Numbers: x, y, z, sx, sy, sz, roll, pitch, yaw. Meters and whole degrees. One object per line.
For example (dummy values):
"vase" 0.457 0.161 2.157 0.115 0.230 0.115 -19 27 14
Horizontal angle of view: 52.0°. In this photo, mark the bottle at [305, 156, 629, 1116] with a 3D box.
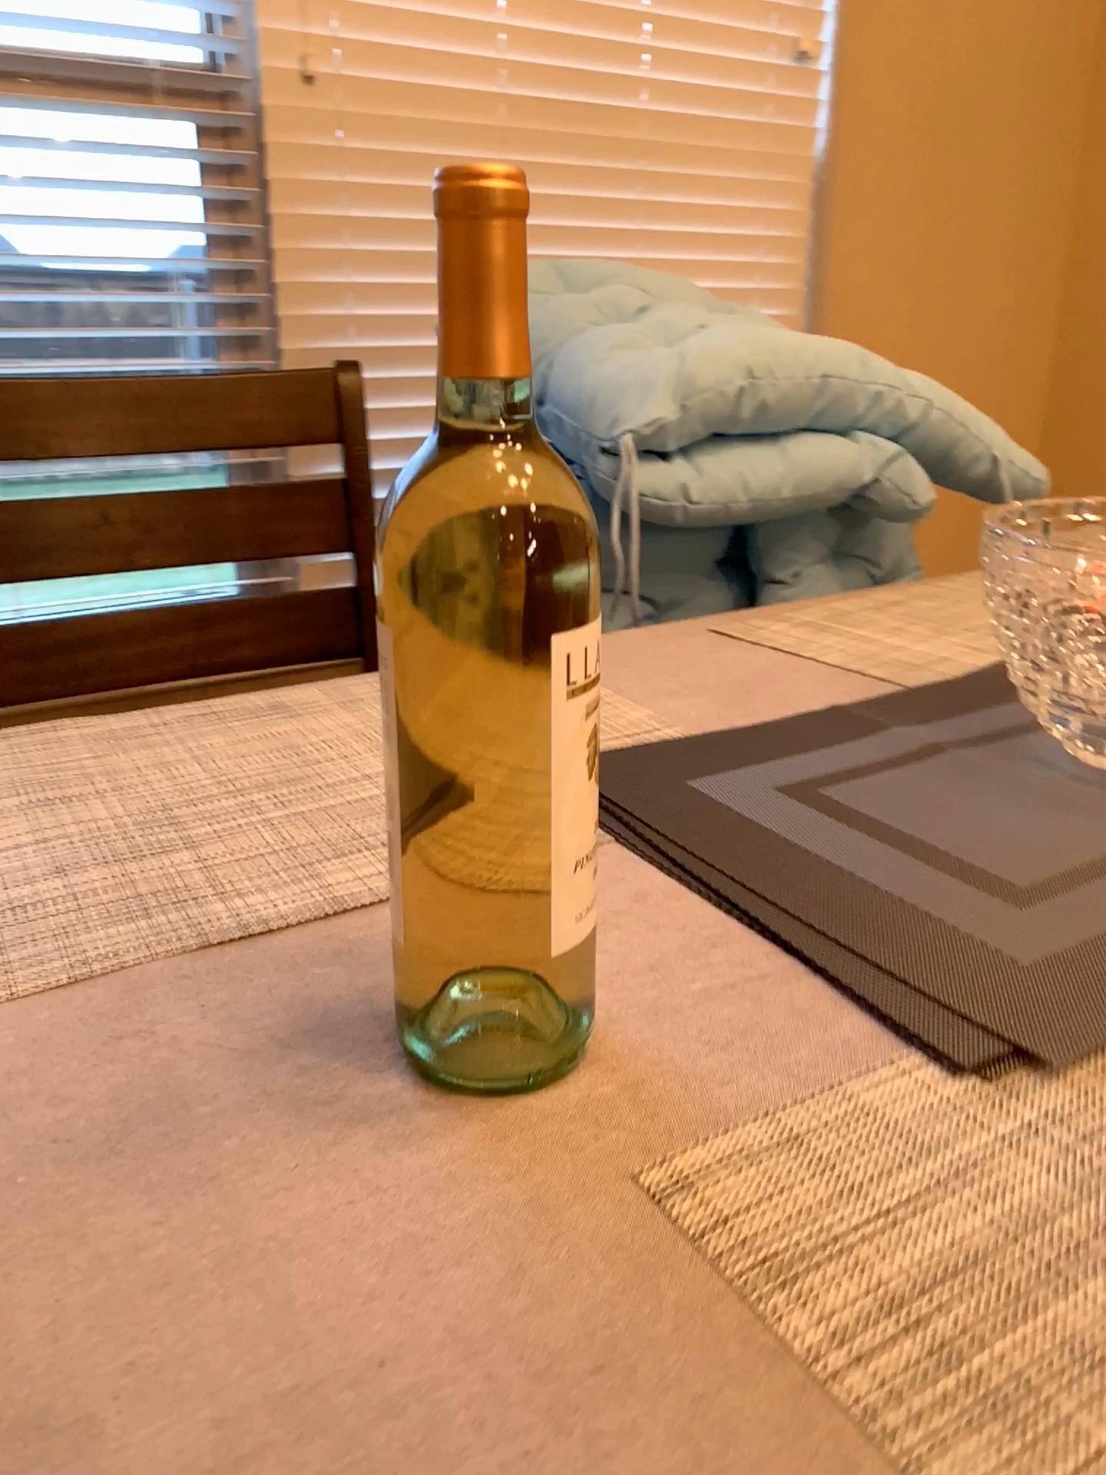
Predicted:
"bottle" -0.021 -0.026 0.389 0.080 0.299 0.084 0 19 0
